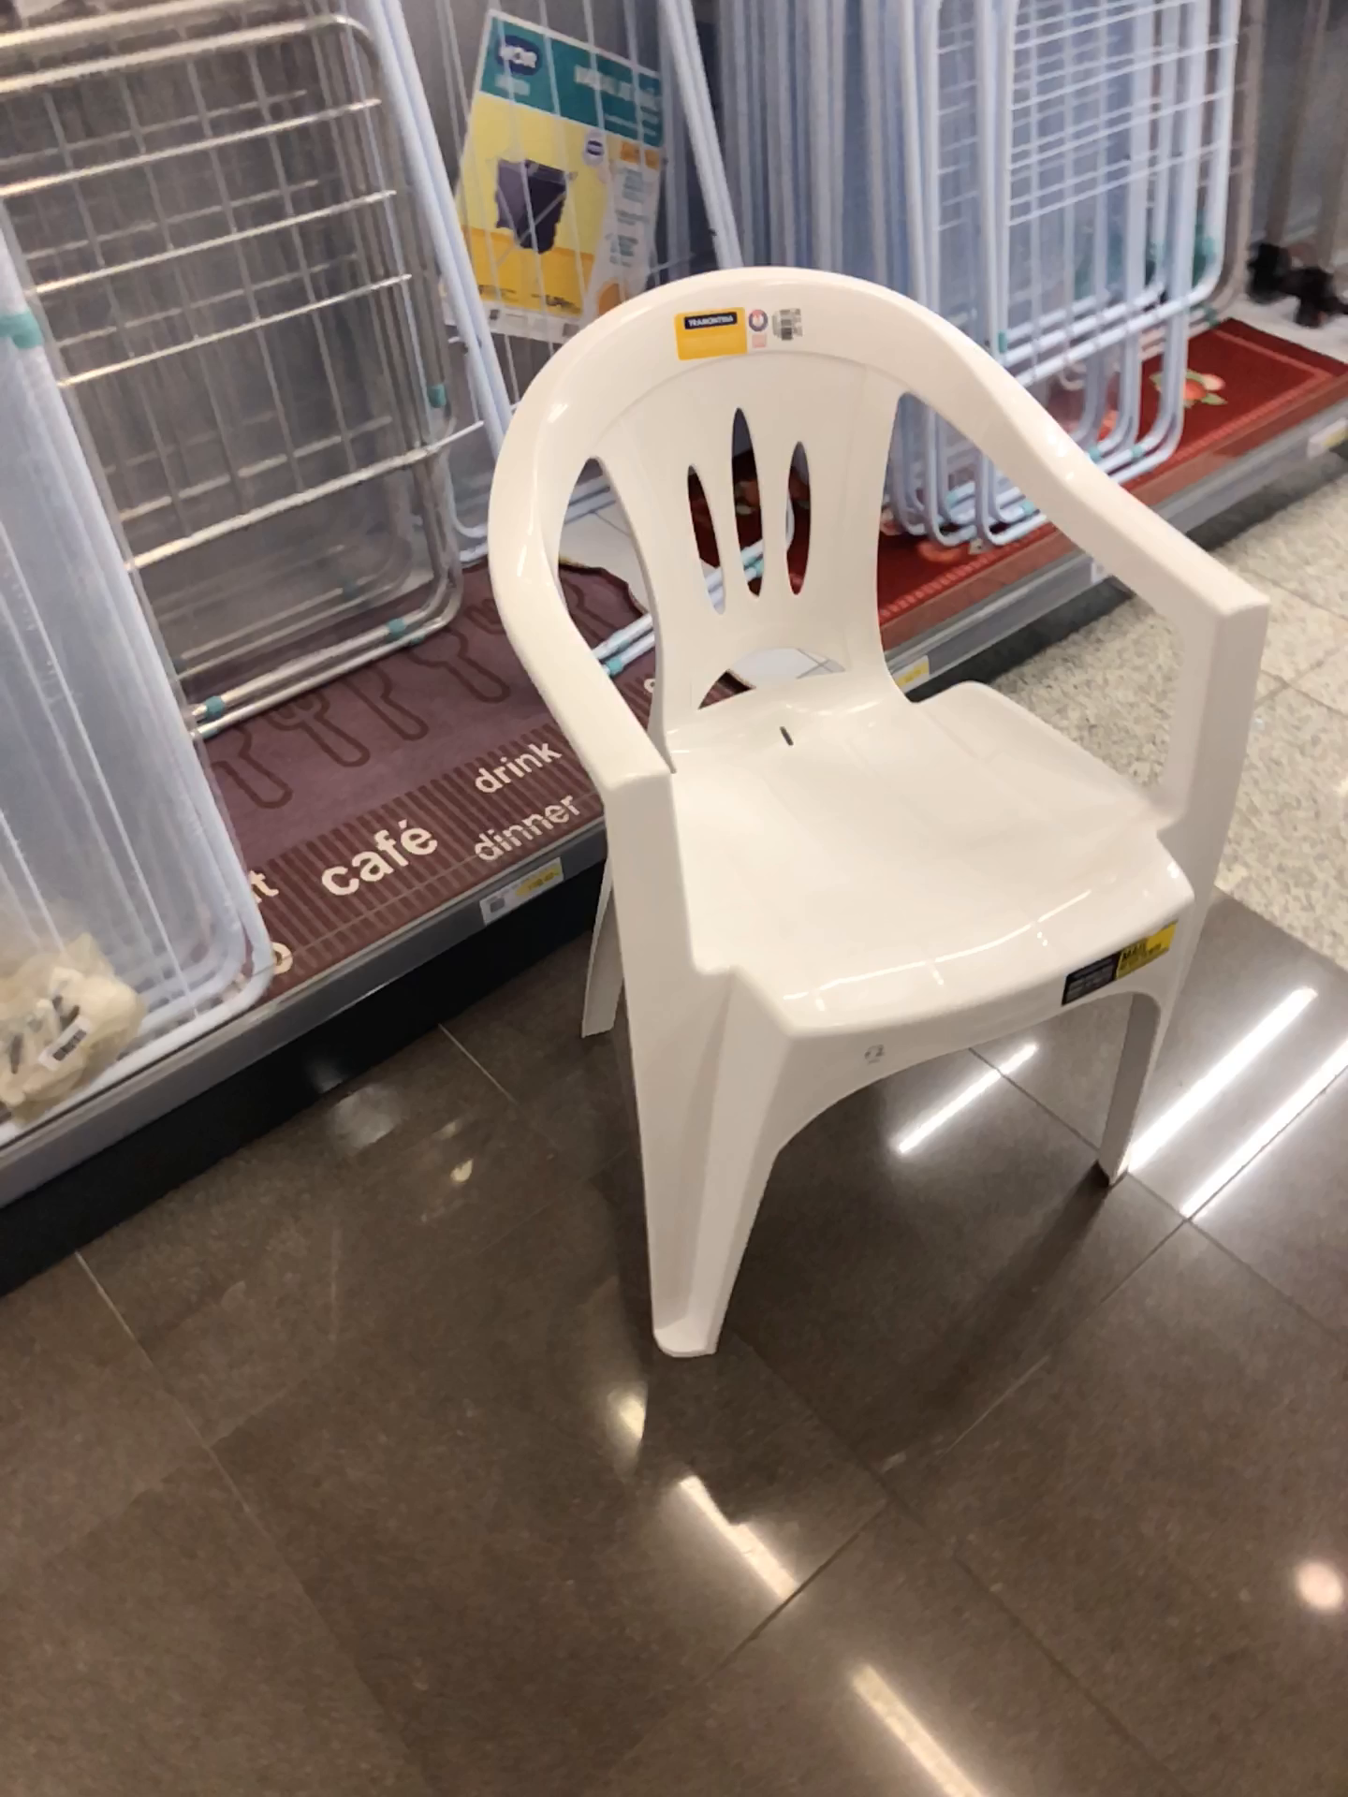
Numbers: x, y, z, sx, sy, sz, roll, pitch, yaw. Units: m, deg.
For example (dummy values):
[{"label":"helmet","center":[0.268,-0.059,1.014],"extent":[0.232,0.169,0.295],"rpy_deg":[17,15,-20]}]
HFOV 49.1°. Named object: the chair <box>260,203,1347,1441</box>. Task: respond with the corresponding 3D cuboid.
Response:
[{"label":"chair","center":[0.092,-0.082,1.278],"extent":[0.601,0.705,0.603],"rpy_deg":[-21,49,-20]}]
